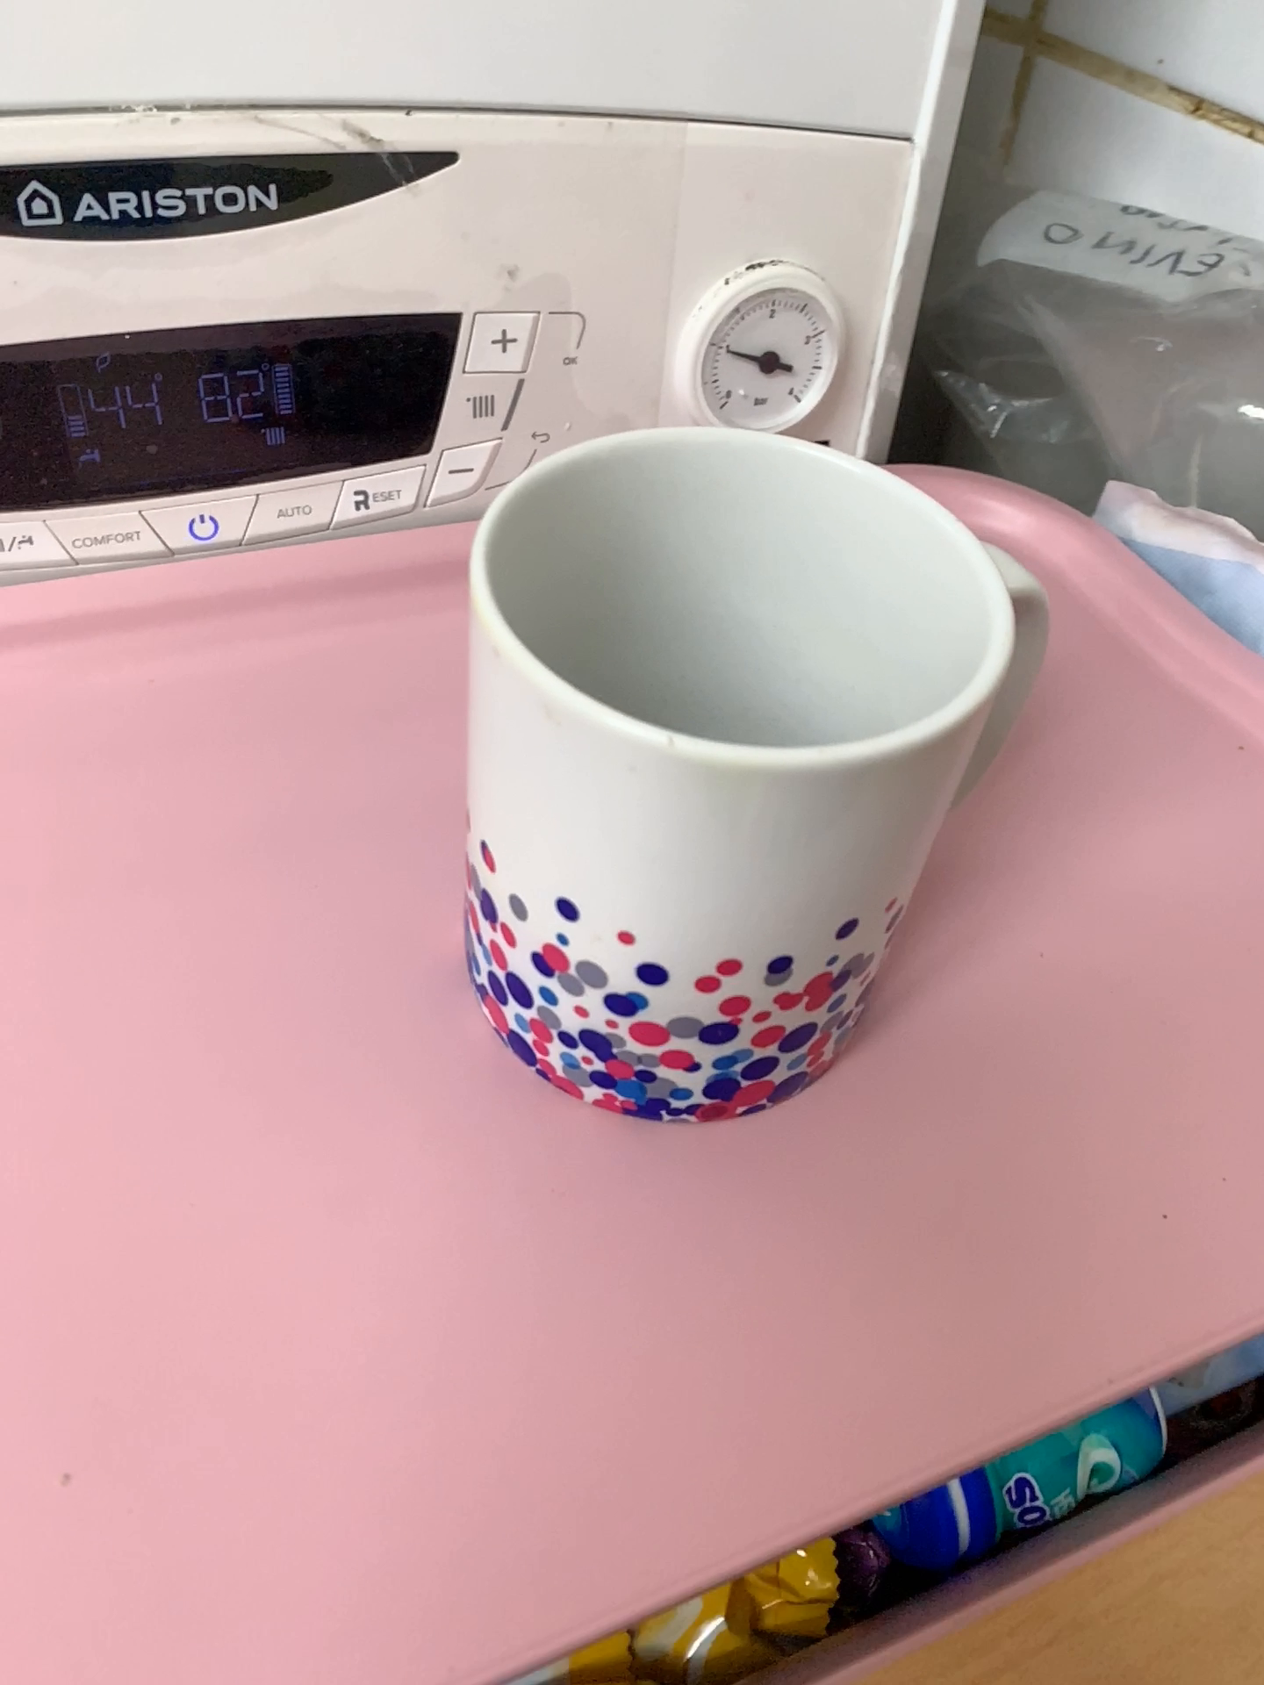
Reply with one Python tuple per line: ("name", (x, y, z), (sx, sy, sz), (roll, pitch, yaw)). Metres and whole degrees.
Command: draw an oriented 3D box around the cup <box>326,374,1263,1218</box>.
("cup", (0.021, -0.014, 0.225), (0.120, 0.089, 0.081), (-16, 46, -22))
